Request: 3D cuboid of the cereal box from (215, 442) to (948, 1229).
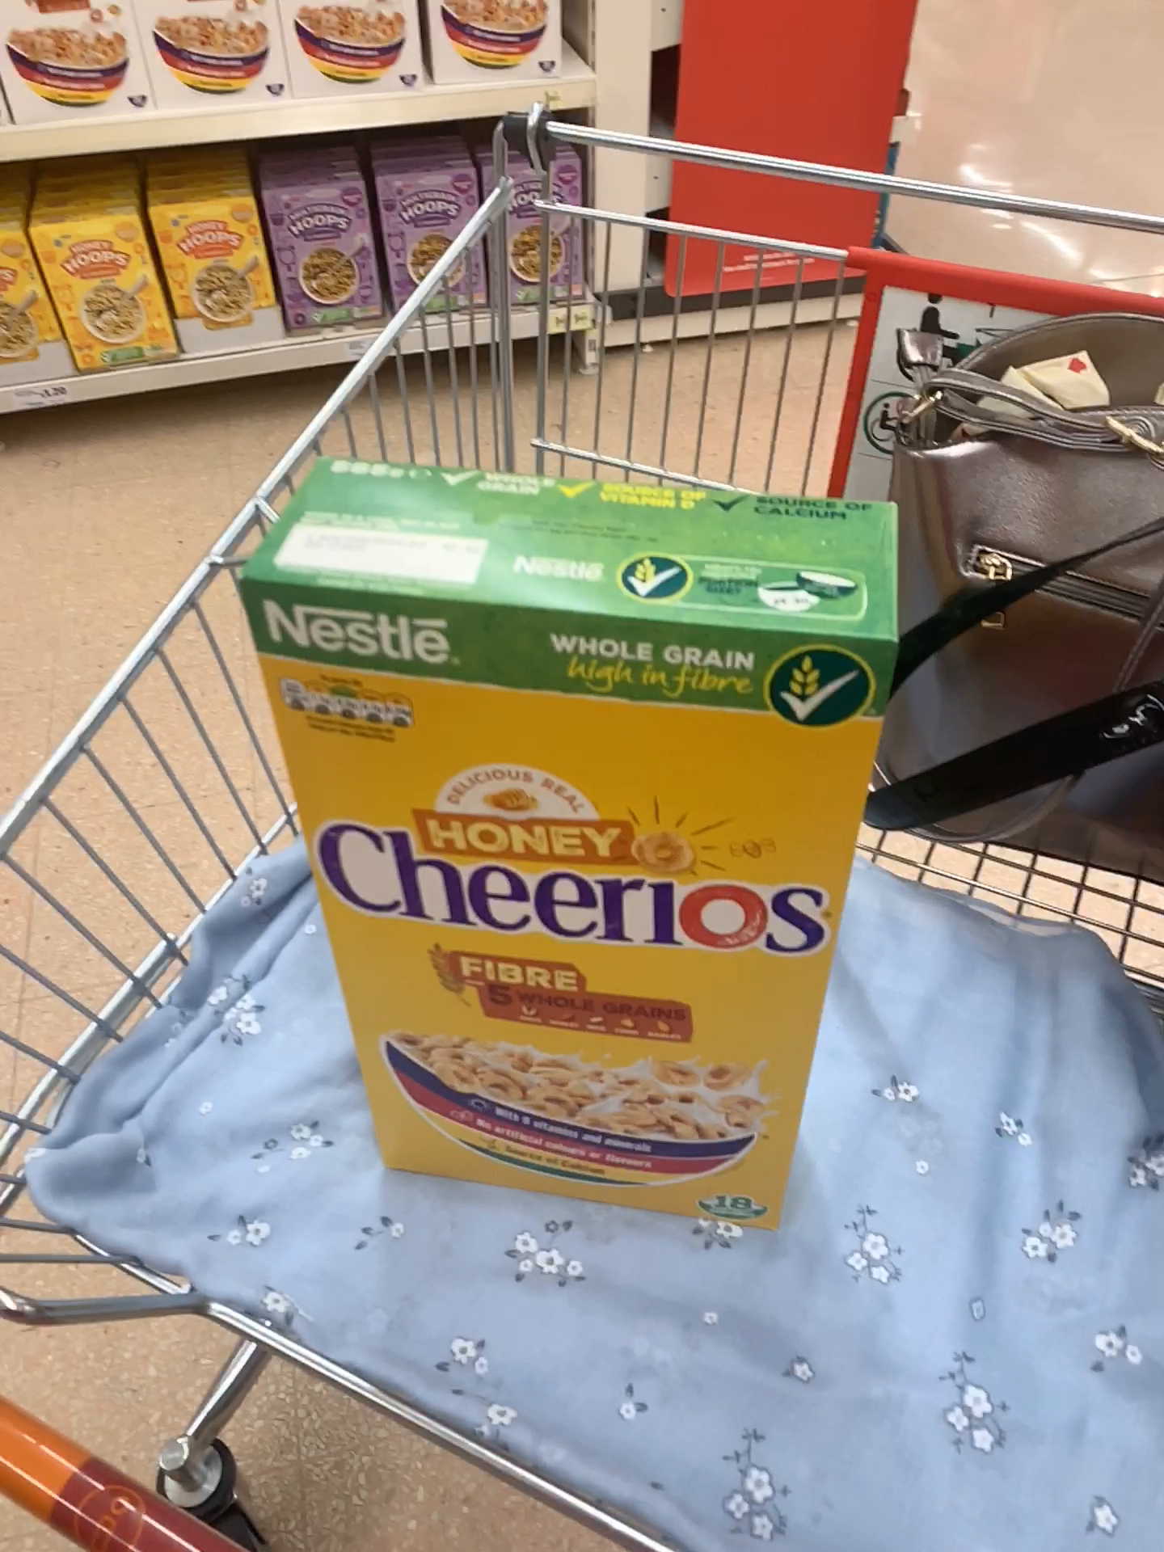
[{"bbox_3d":[0.003,0.051,0.483,0.210,0.347,0.081,7,44,7],"label":"cereal box"}]
